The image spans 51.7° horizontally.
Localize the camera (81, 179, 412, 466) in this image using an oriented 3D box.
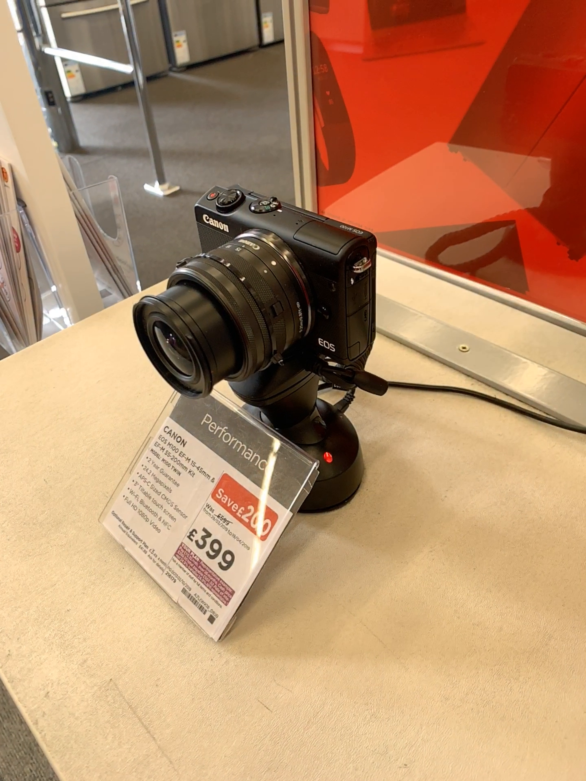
[{"bbox_3d":[-0.021,-0.043,0.304,0.121,0.069,0.100,29,51,34],"label":"camera"}]
